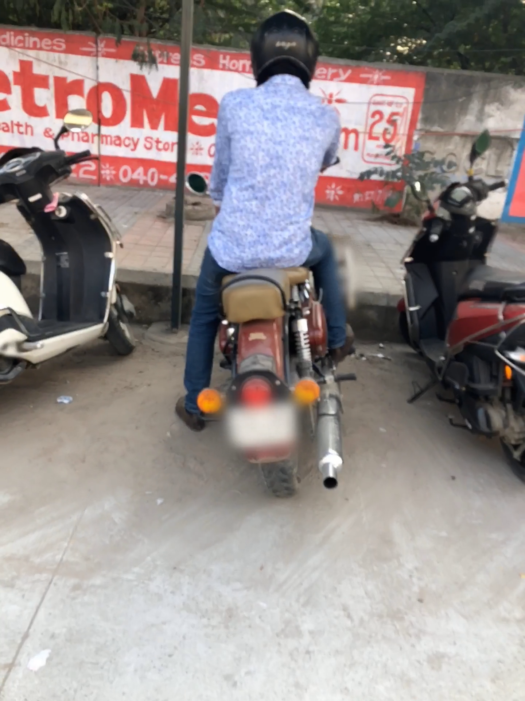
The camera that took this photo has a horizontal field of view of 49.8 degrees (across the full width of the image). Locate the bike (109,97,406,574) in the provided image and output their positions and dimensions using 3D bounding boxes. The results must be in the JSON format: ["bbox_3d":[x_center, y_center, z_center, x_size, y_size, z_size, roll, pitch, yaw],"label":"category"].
[{"bbox_3d":[-0.048,-0.260,2.403,0.792,1.257,1.557,5,27,0],"label":"bike"}]
